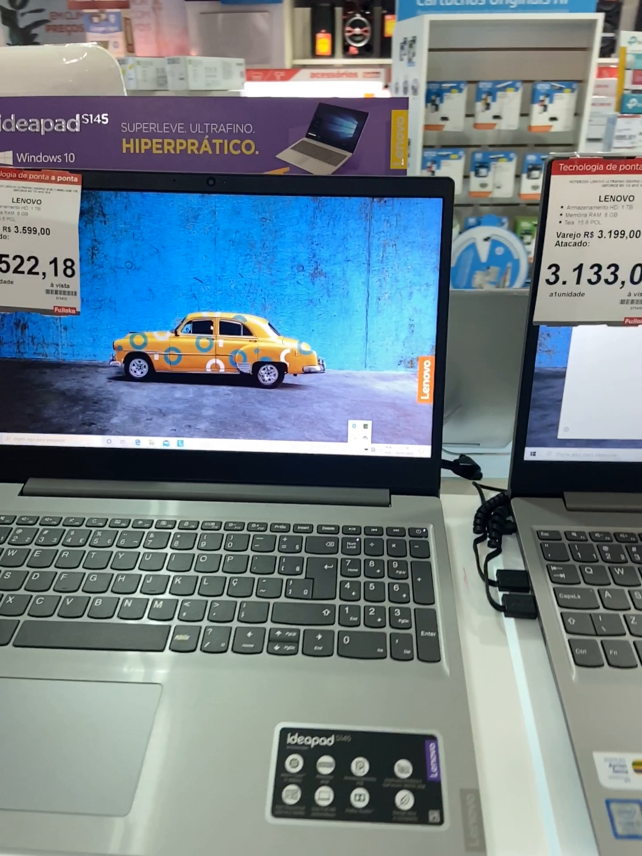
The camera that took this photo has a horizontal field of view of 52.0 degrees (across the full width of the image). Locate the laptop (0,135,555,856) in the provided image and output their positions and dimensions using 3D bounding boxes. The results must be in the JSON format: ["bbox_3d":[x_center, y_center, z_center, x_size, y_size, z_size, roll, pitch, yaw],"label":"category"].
[{"bbox_3d":[-0.089,-0.014,0.398,0.346,0.209,0.367,1,35,4],"label":"laptop"}]
